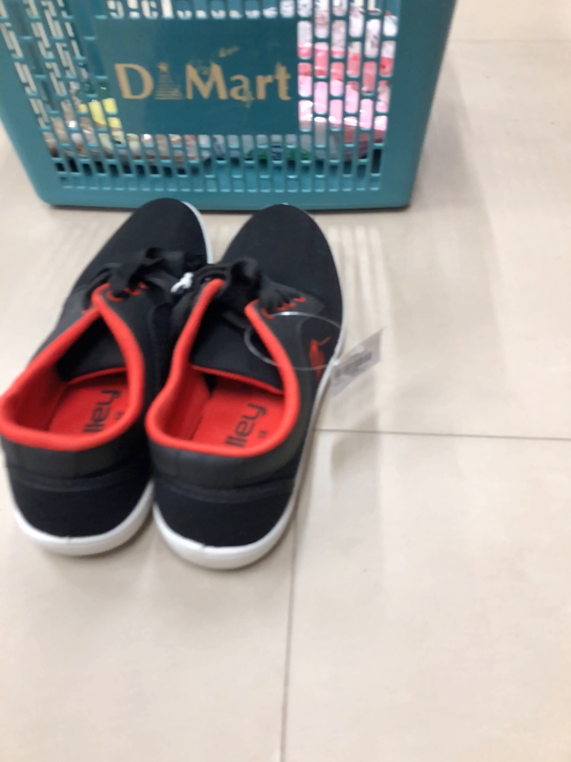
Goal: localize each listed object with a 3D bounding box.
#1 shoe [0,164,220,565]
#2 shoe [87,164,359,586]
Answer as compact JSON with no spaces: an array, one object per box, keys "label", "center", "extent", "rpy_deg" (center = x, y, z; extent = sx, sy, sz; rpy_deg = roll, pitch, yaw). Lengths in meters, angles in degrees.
[{"label":"shoe","center":[-0.113,-0.025,0.411],"extent":[0.105,0.103,0.261],"rpy_deg":[0,50,2]},{"label":"shoe","center":[-0.019,-0.021,0.404],"extent":[0.105,0.103,0.261],"rpy_deg":[6,51,7]}]
